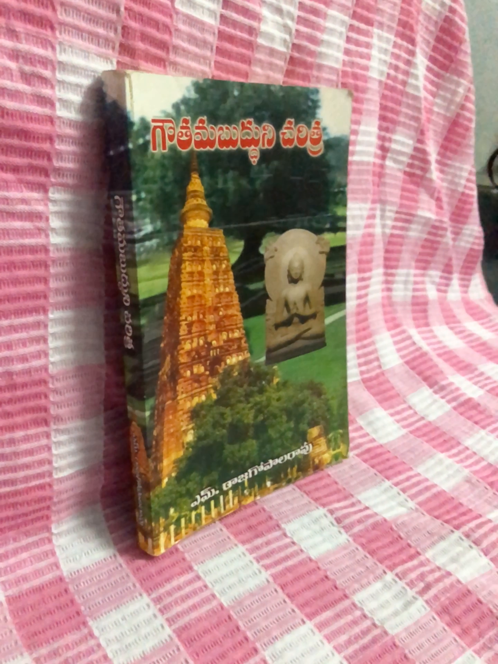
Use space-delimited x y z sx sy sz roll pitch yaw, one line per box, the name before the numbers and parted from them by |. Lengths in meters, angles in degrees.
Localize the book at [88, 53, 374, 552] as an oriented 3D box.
book | 0.001 -0.016 0.281 0.141 0.209 0.030 -14 21 -37
